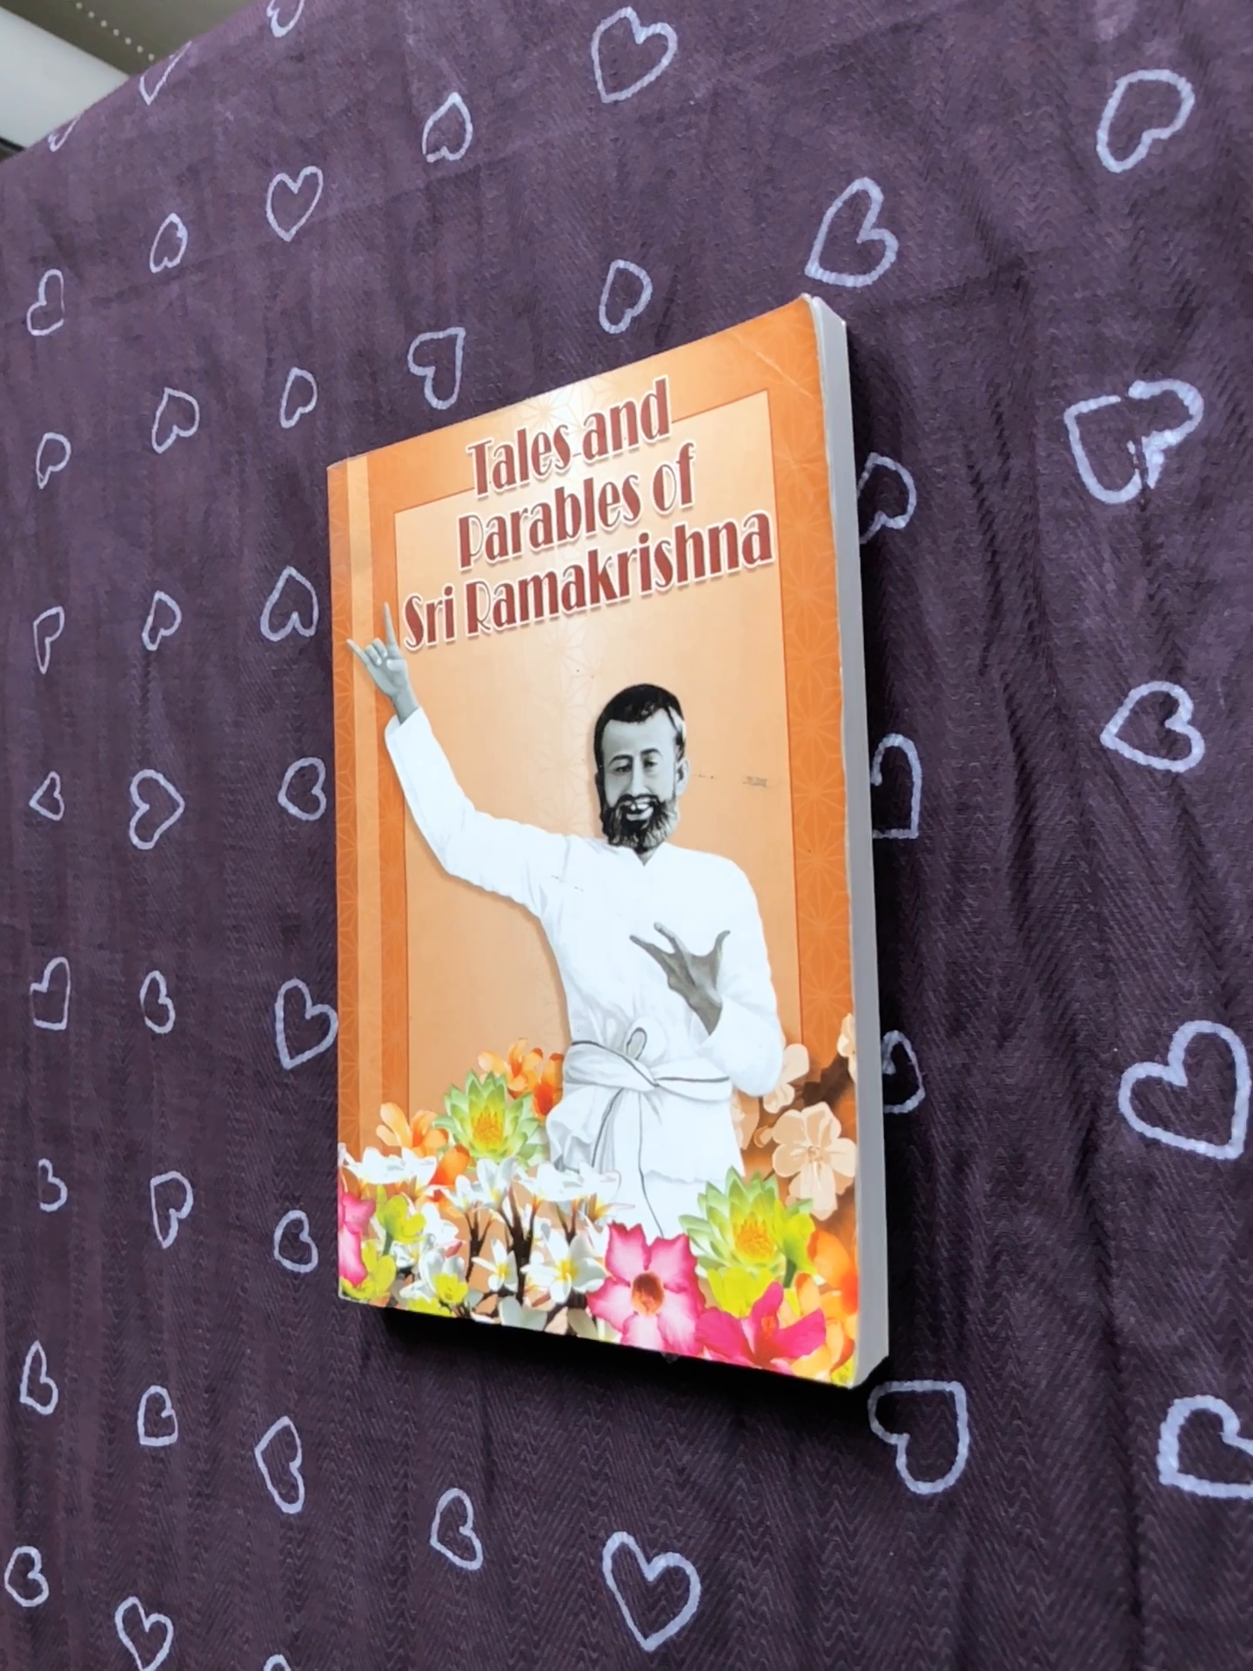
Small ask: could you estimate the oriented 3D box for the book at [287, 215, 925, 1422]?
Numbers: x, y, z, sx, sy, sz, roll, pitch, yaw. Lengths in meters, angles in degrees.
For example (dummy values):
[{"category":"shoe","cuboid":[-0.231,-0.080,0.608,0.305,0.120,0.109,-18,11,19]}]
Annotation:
[{"category":"book","cuboid":[-0.013,-0.001,0.264,0.131,0.020,0.190,-6,83,36]}]
